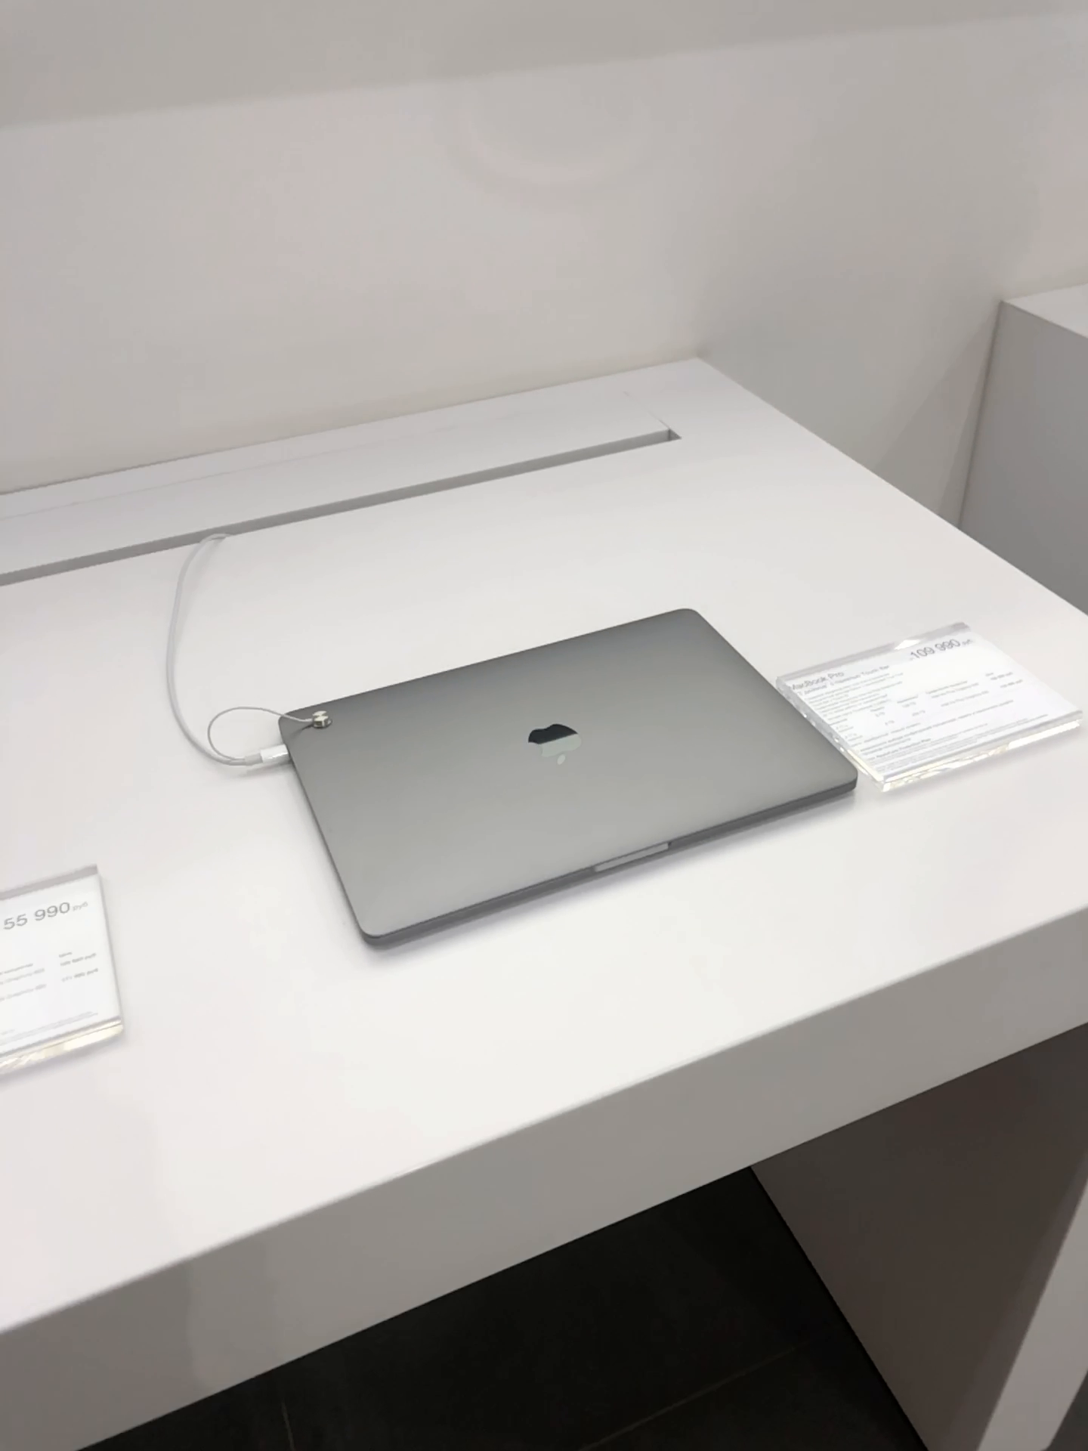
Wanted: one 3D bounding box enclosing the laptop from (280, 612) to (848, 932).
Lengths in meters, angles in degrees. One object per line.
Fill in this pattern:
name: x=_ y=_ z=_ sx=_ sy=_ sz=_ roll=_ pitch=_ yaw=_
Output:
laptop: x=0.005 y=0.013 z=0.729 sx=0.293 sy=0.001 sz=0.199 roll=-15 pitch=39 yaw=-17
